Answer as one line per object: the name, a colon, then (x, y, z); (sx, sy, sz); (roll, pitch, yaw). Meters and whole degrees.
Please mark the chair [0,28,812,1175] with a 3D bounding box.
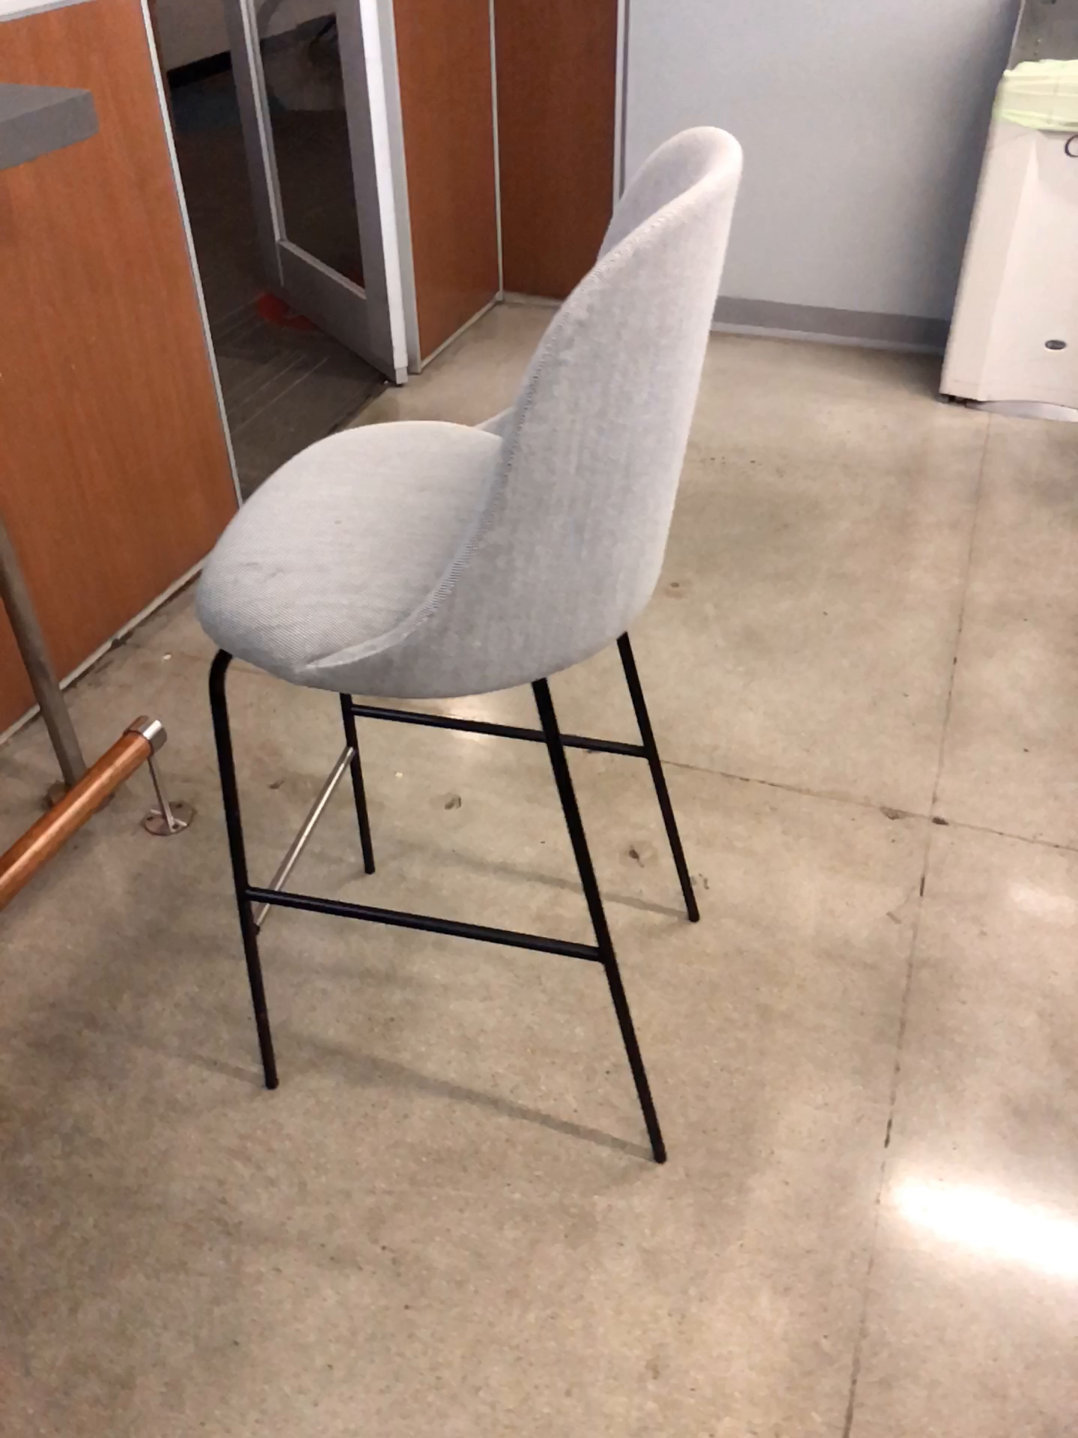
chair: (-0.106, -0.076, 1.290); (0.620, 1.094, 0.462); (8, 39, 10)
